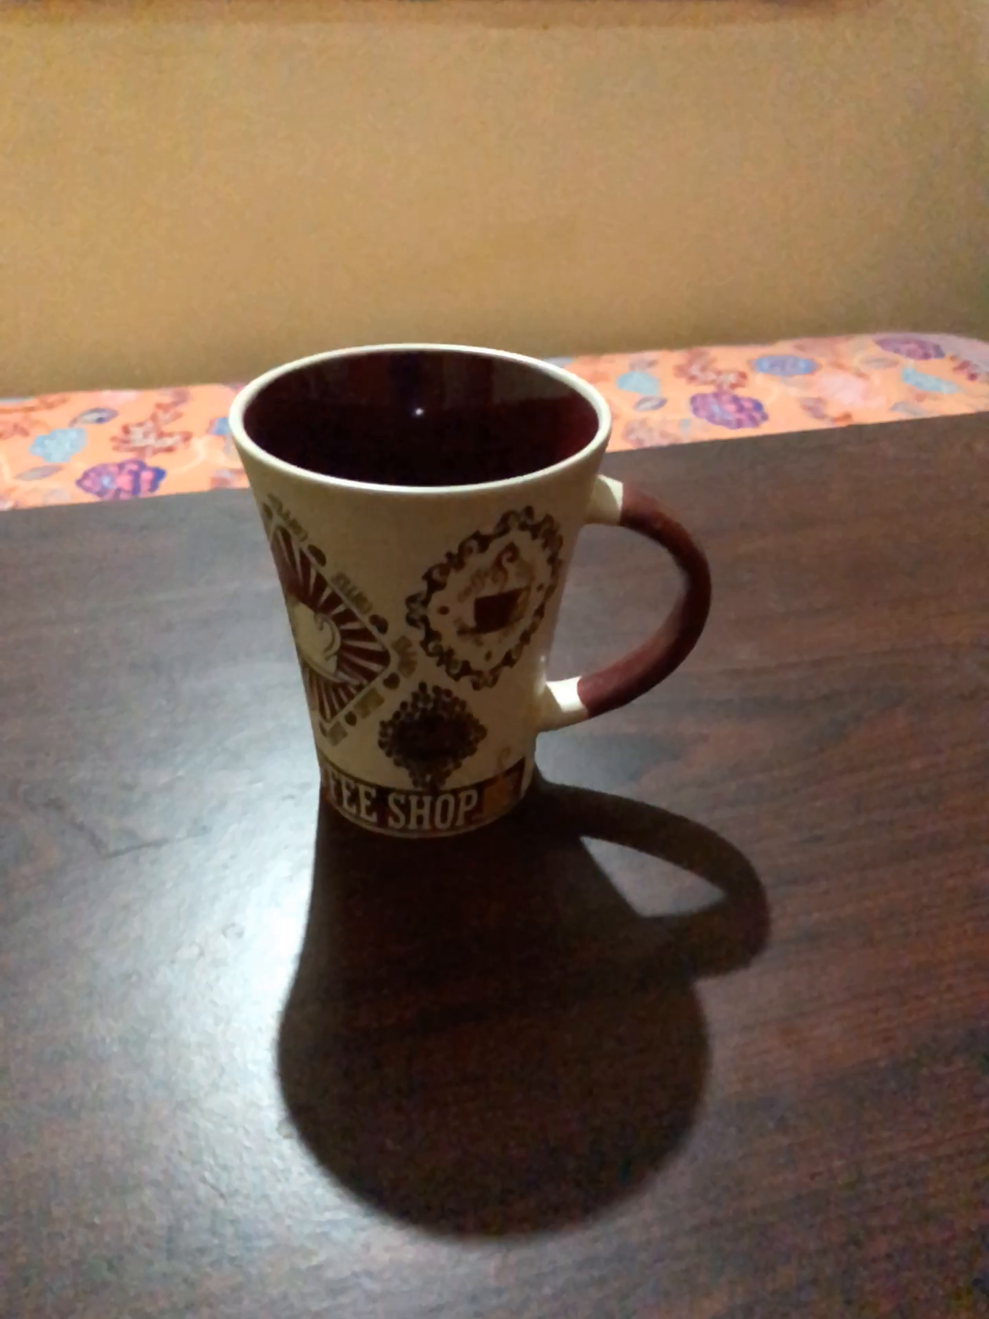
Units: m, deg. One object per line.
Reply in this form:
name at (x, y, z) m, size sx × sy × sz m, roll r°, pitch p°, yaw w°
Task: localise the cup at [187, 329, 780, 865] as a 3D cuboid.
cup at (-0.001, -0.021, 0.291) m, size 0.120 × 0.099 × 0.101 m, roll 3°, pitch 33°, yaw 2°
